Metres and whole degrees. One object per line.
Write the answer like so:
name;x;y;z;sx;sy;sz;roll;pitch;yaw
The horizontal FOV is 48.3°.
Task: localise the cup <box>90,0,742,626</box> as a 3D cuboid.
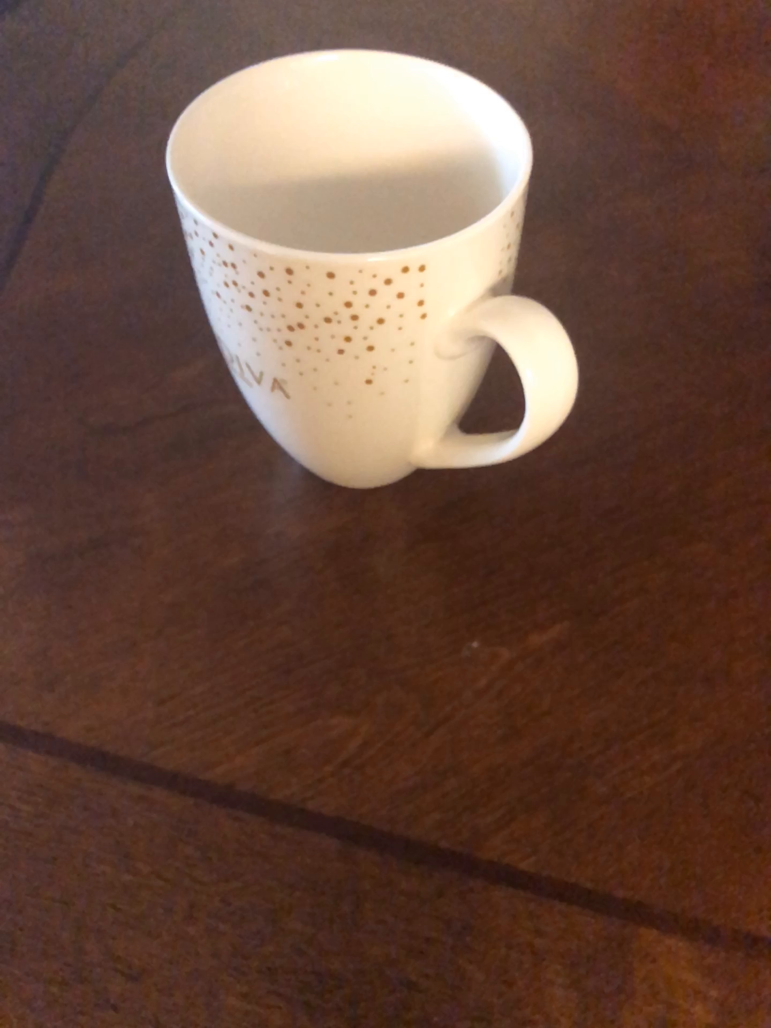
cup;0.003;-0.066;0.261;0.100;0.100;0.140;-33;61;-20
